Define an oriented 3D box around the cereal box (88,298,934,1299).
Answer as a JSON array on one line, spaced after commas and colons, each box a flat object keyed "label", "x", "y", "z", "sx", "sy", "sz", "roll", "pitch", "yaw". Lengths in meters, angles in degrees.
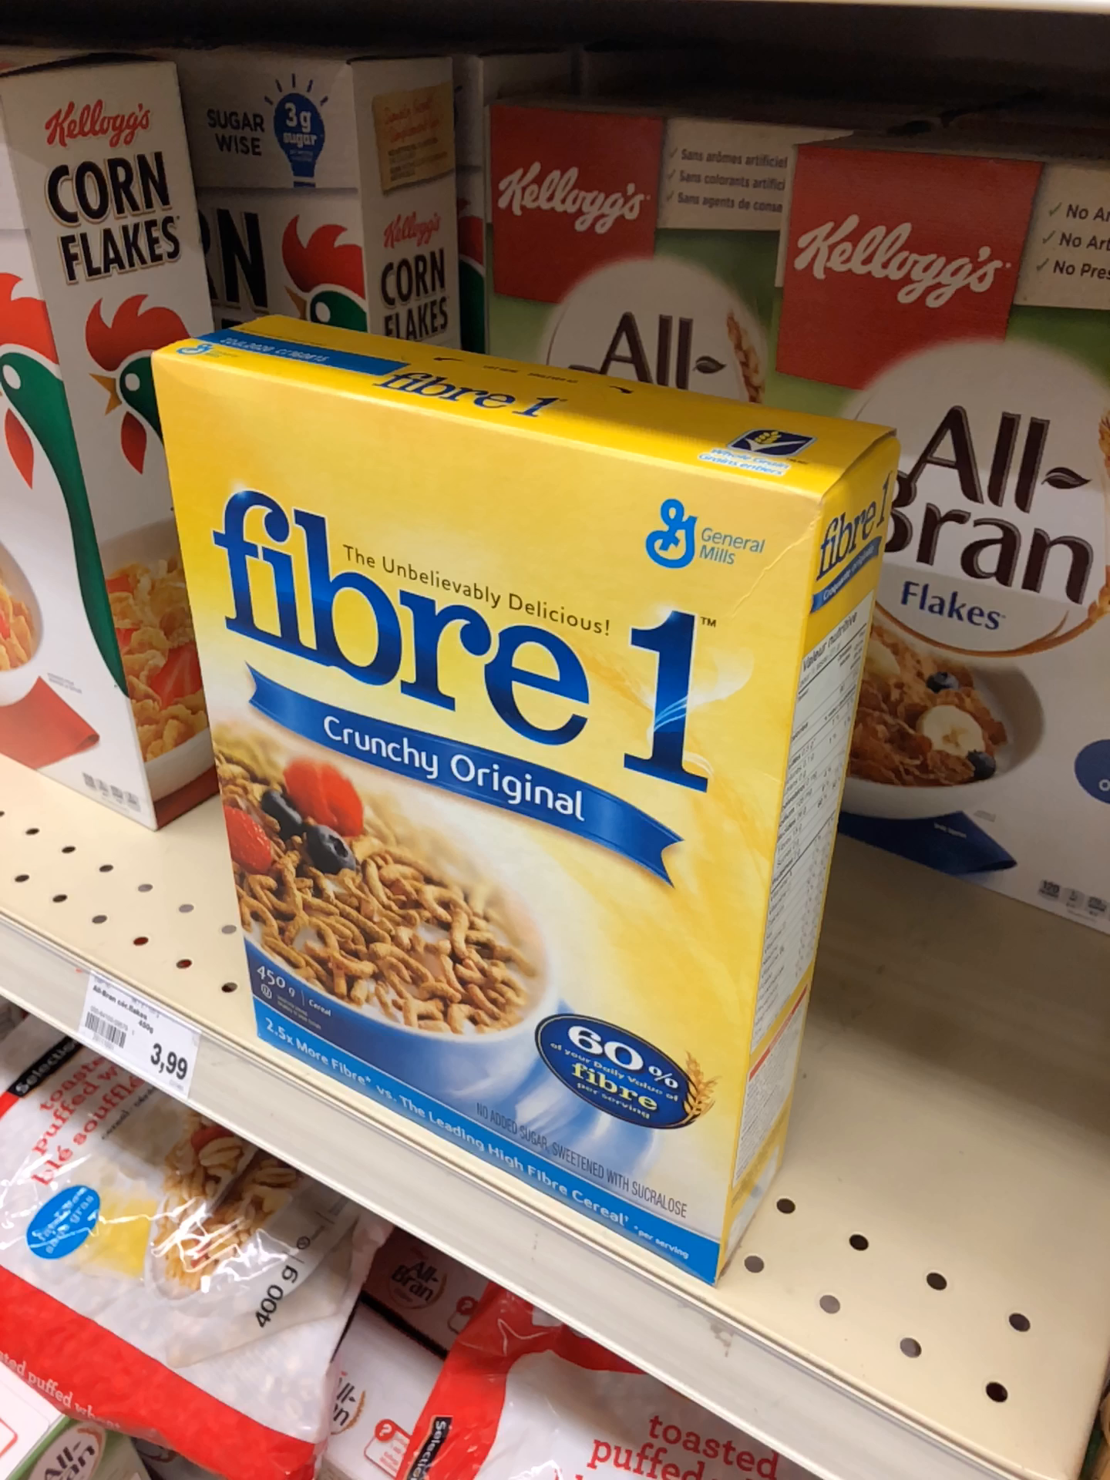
[{"label": "cereal box", "x": -0.020, "y": 0.016, "z": 0.367, "sx": 0.211, "sy": 0.248, "sz": 0.060, "roll": 19, "pitch": 37, "yaw": 27}]
